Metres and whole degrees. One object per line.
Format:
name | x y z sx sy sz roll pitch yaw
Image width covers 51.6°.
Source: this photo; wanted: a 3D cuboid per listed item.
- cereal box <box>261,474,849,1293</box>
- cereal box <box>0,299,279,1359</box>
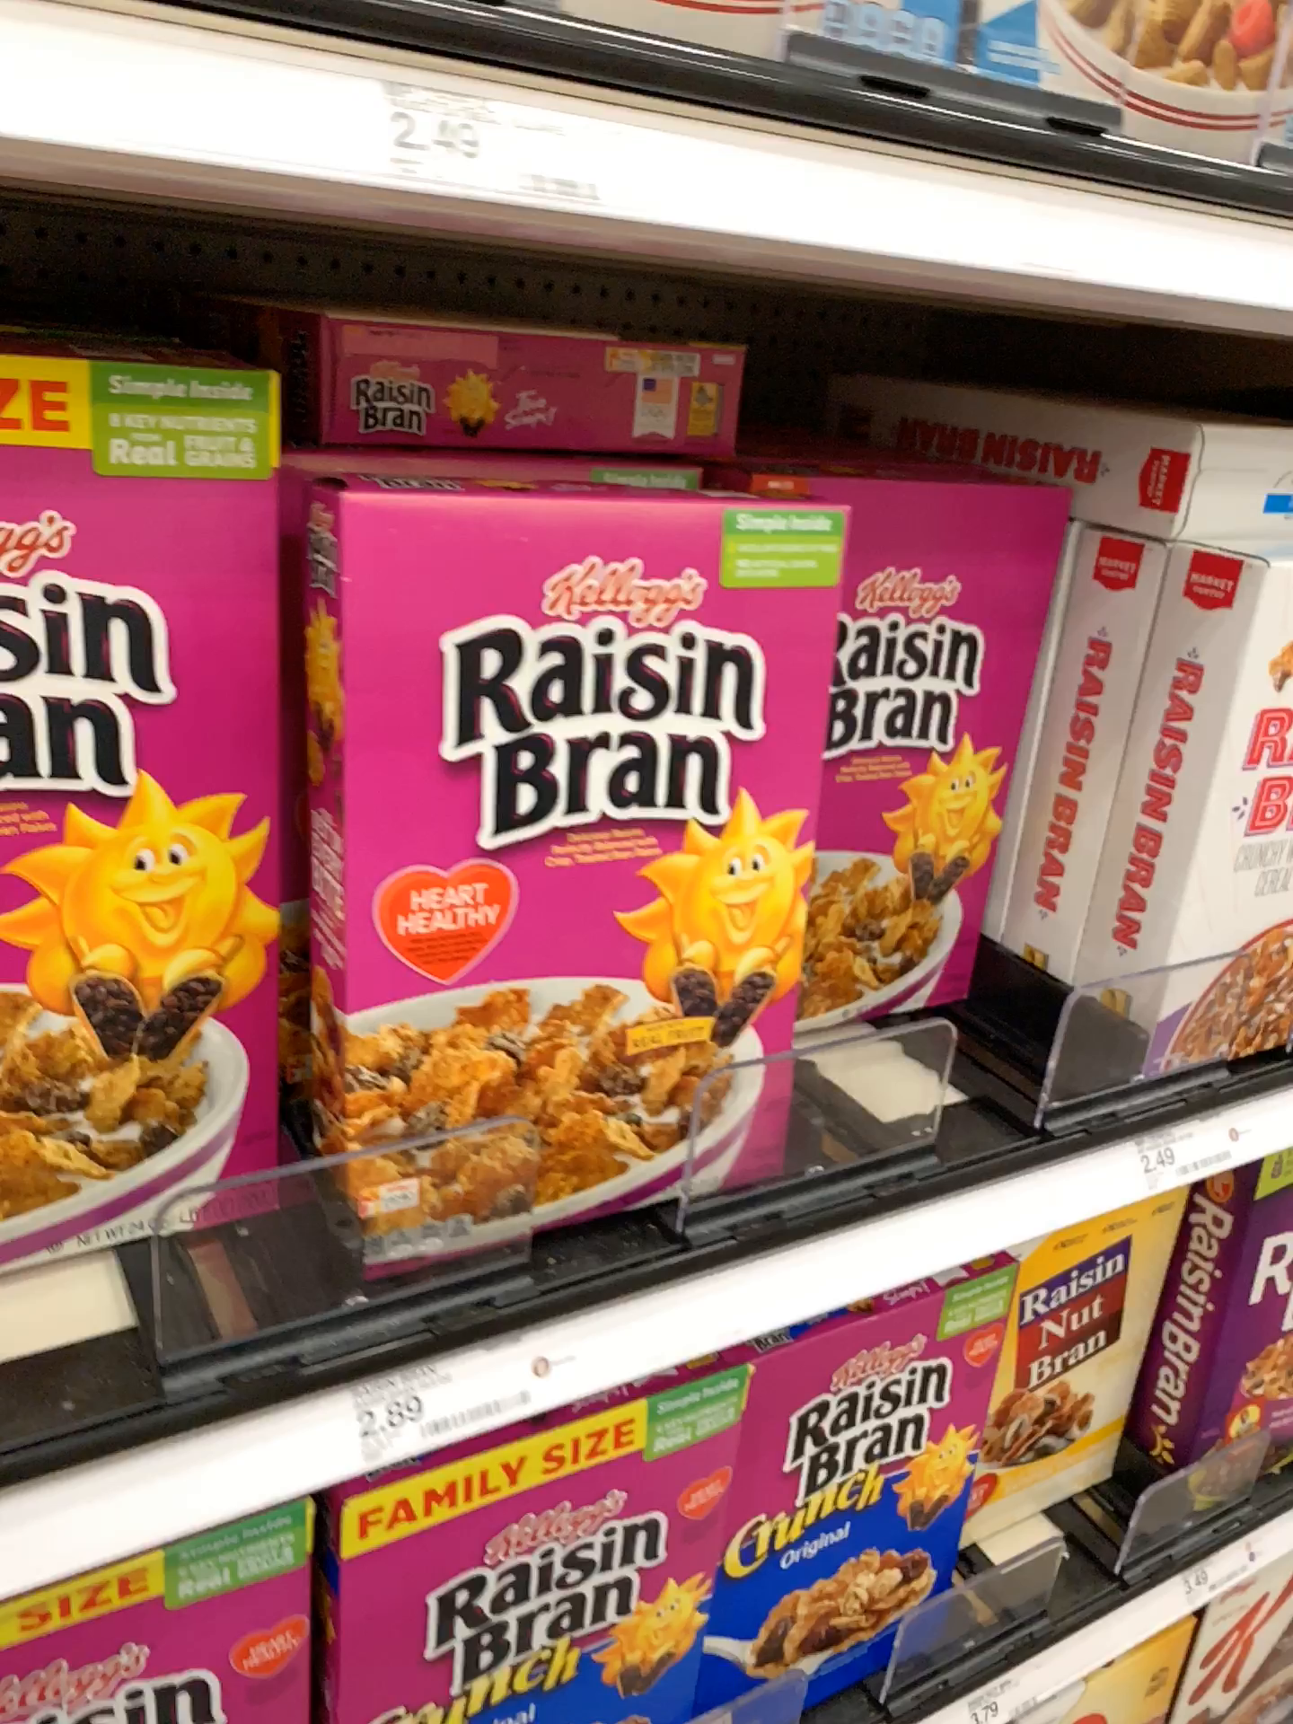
cereal box | -0.033 0.003 0.504 0.200 0.279 0.050 -7 21 -29
cereal box | -0.240 -0.011 0.434 0.220 0.299 0.060 -8 24 -30
